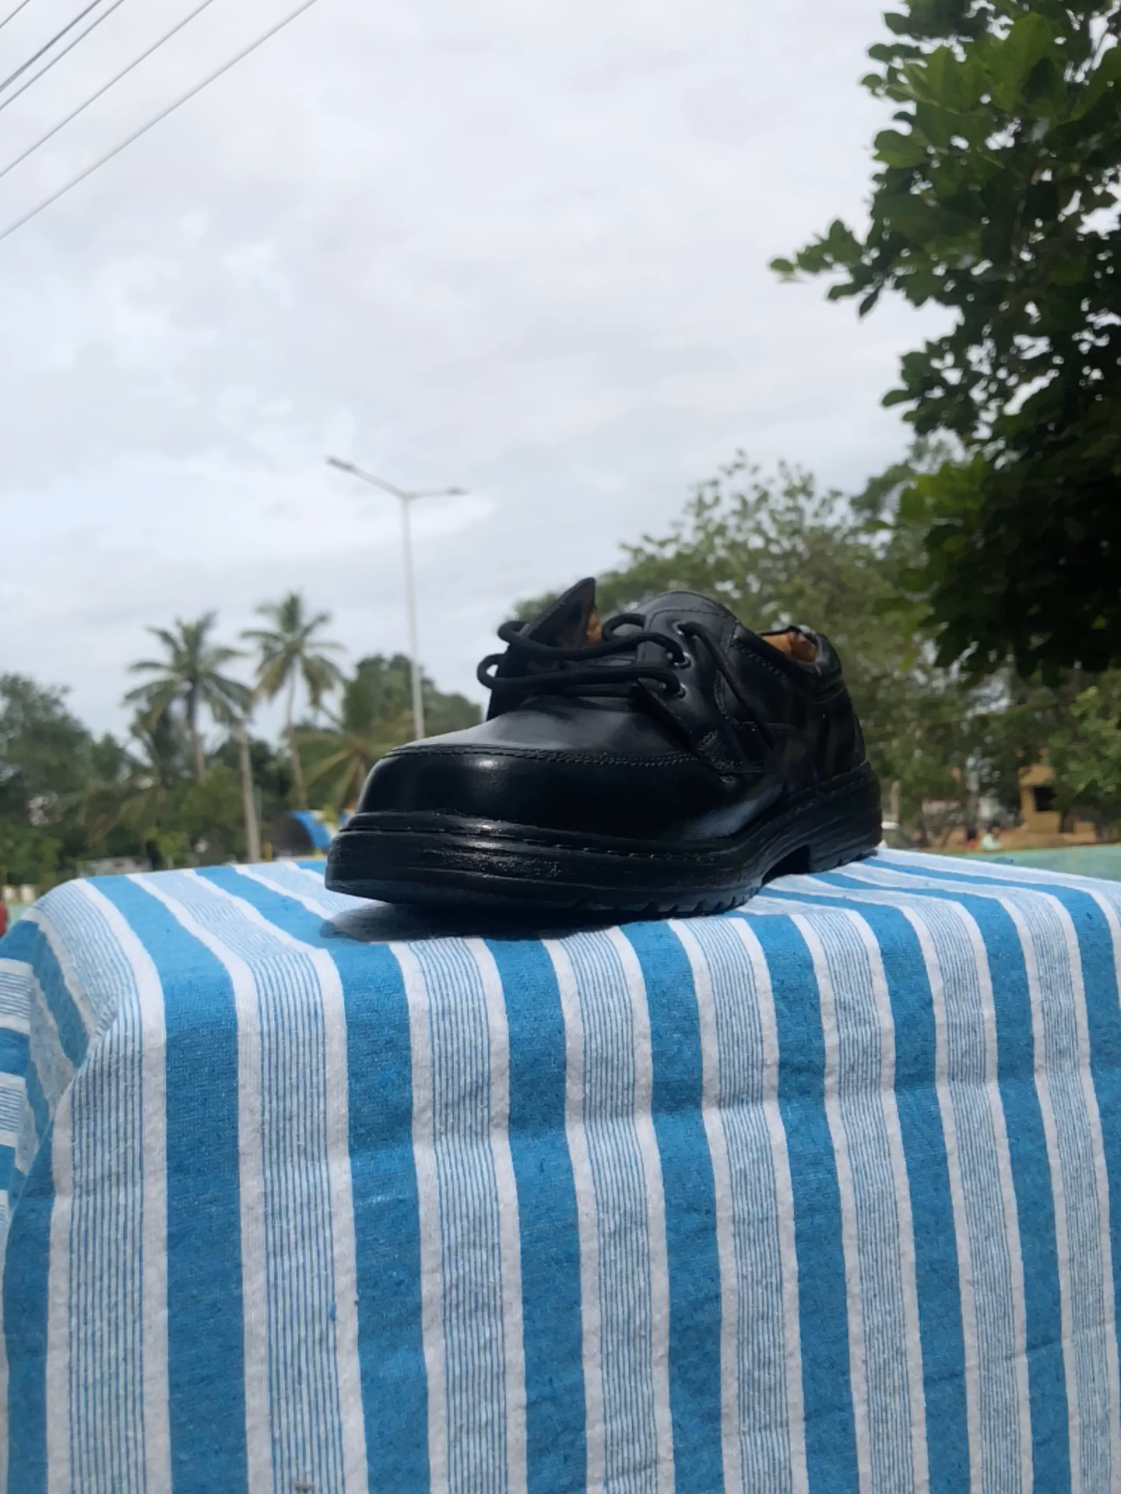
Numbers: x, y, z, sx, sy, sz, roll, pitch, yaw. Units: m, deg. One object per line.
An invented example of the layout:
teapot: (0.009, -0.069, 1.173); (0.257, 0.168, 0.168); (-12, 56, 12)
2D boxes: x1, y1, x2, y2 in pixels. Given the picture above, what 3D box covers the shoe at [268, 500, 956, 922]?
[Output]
shoe: (0.043, -0.004, 0.446); (0.110, 0.100, 0.290); (-2, -3, 33)
